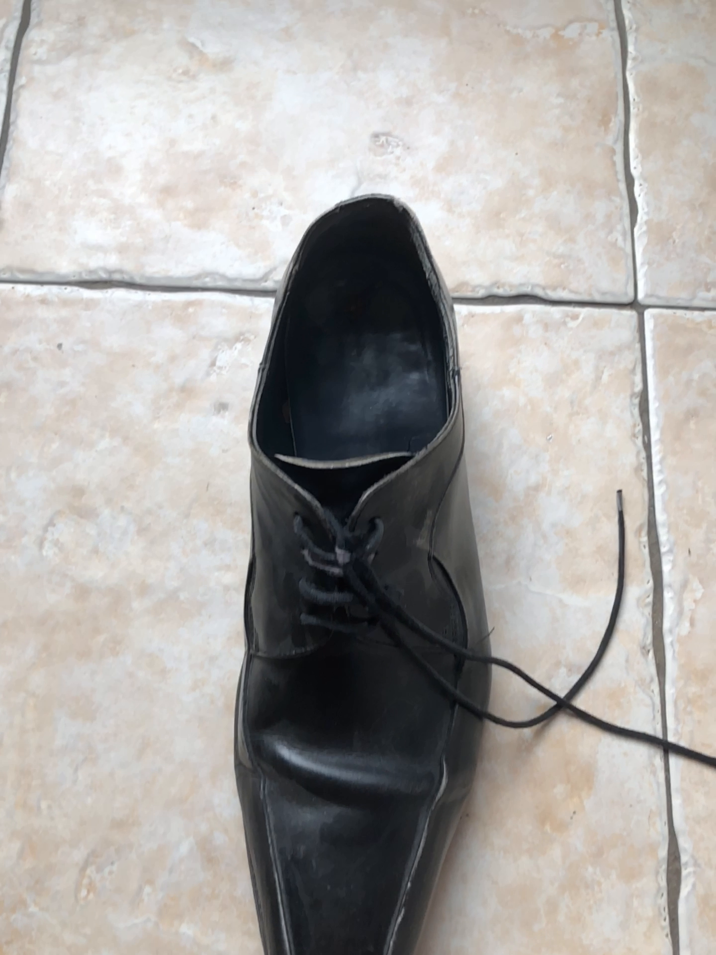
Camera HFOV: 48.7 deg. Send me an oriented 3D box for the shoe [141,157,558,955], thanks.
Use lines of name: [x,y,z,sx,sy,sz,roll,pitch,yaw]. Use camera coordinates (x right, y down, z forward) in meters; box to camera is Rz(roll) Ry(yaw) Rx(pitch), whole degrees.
shoe: [0.007,0.043,0.283,0.100,0.090,0.290,5,76,2]
